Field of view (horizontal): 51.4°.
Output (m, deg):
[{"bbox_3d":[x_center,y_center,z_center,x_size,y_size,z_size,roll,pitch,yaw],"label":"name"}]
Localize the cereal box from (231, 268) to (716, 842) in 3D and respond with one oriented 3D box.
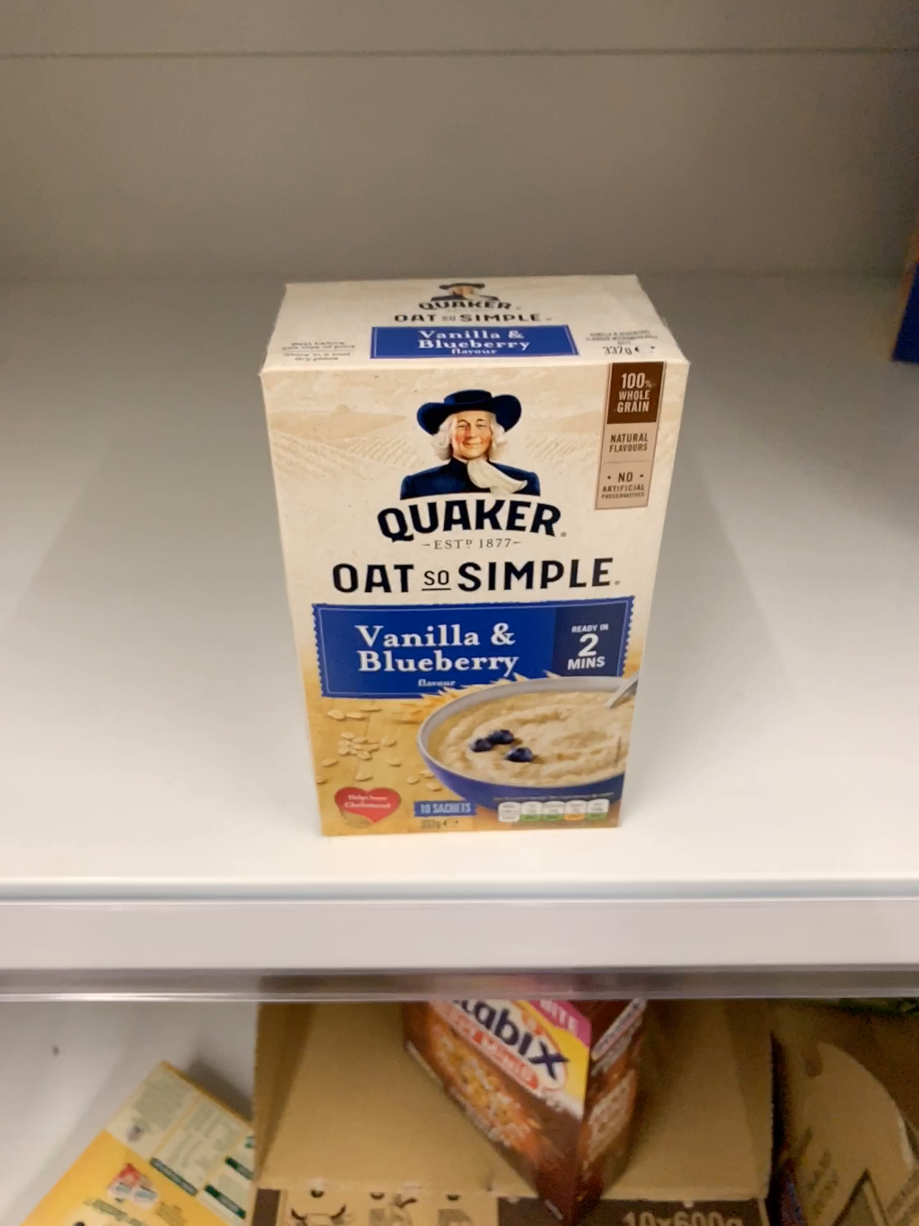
[{"bbox_3d":[0.003,-0.014,0.370,0.140,0.208,0.081,-2,37,-2],"label":"cereal box"}]
